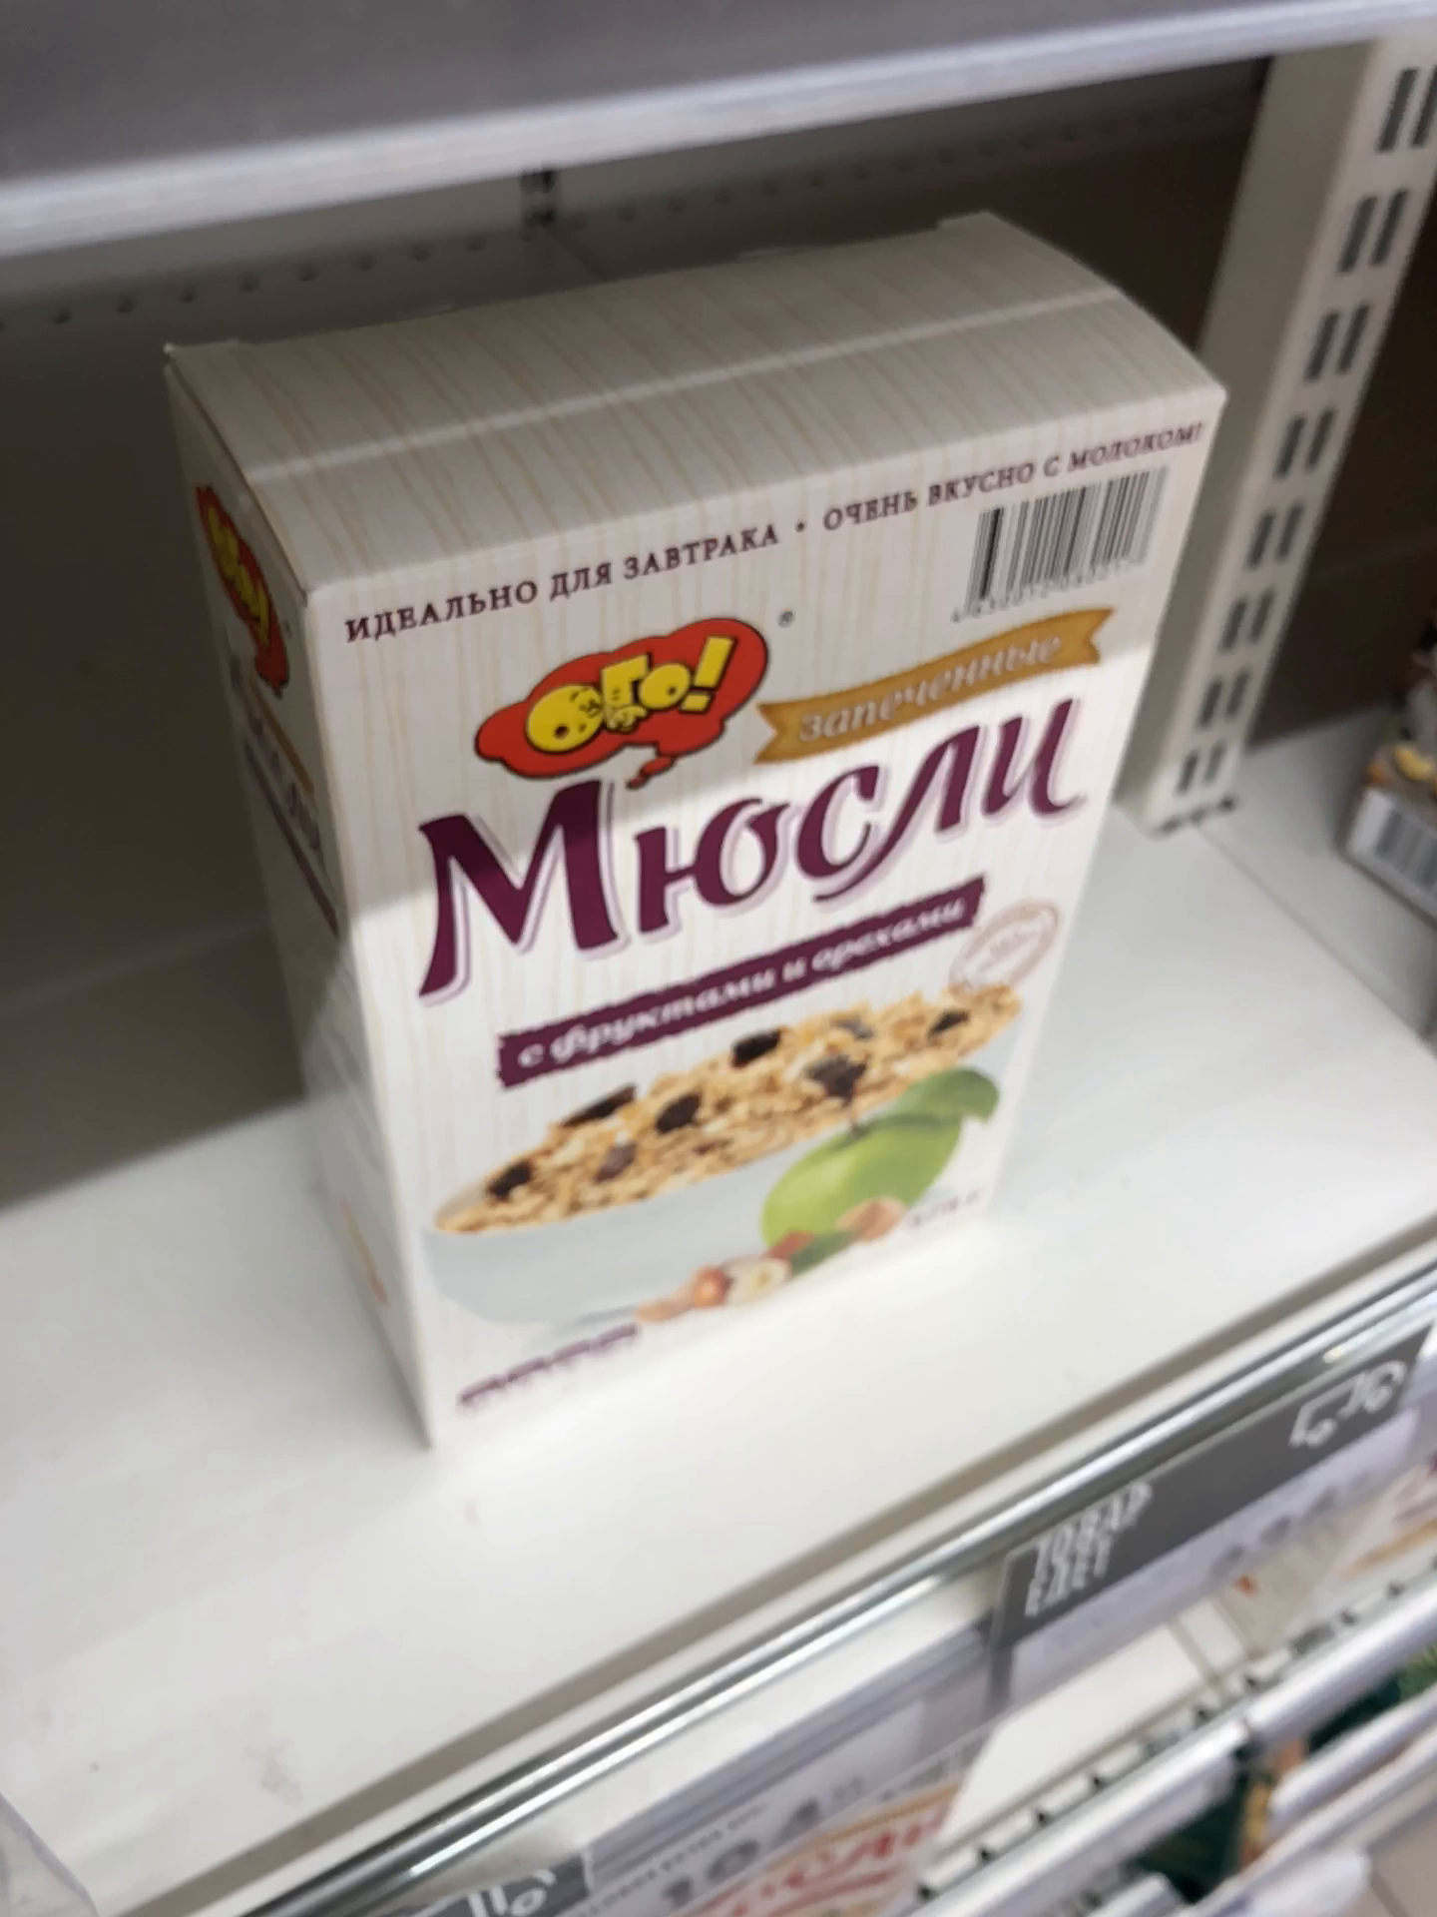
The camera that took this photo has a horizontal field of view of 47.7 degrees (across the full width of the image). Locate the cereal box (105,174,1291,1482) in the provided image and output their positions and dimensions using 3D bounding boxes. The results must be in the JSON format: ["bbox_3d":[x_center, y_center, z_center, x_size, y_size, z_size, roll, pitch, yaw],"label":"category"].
[{"bbox_3d":[-0.006,-0.012,0.287,0.140,0.199,0.070,-19,50,-20],"label":"cereal box"}]
